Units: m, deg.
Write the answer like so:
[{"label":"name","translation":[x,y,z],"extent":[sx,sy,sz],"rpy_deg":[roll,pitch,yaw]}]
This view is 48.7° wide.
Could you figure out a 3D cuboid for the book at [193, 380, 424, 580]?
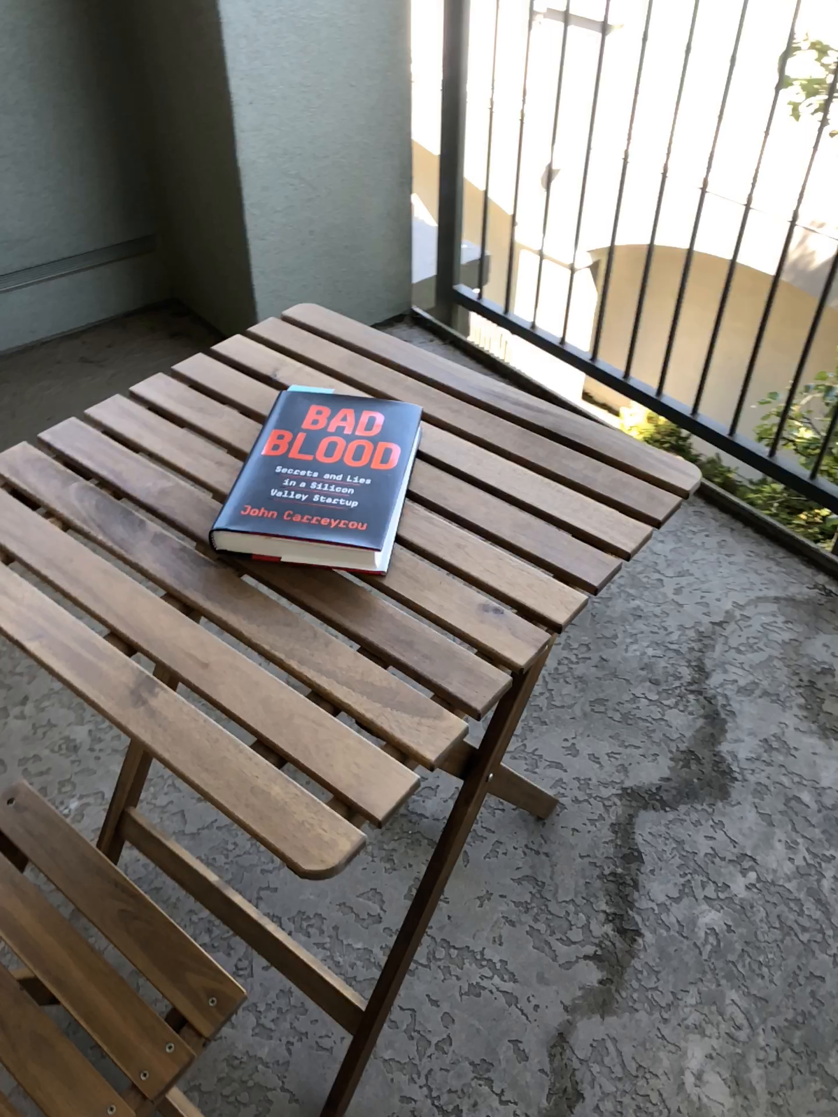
[{"label":"book","translation":[-0.101,-0.089,0.944],"extent":[0.180,0.050,0.241],"rpy_deg":[6,43,6]}]
